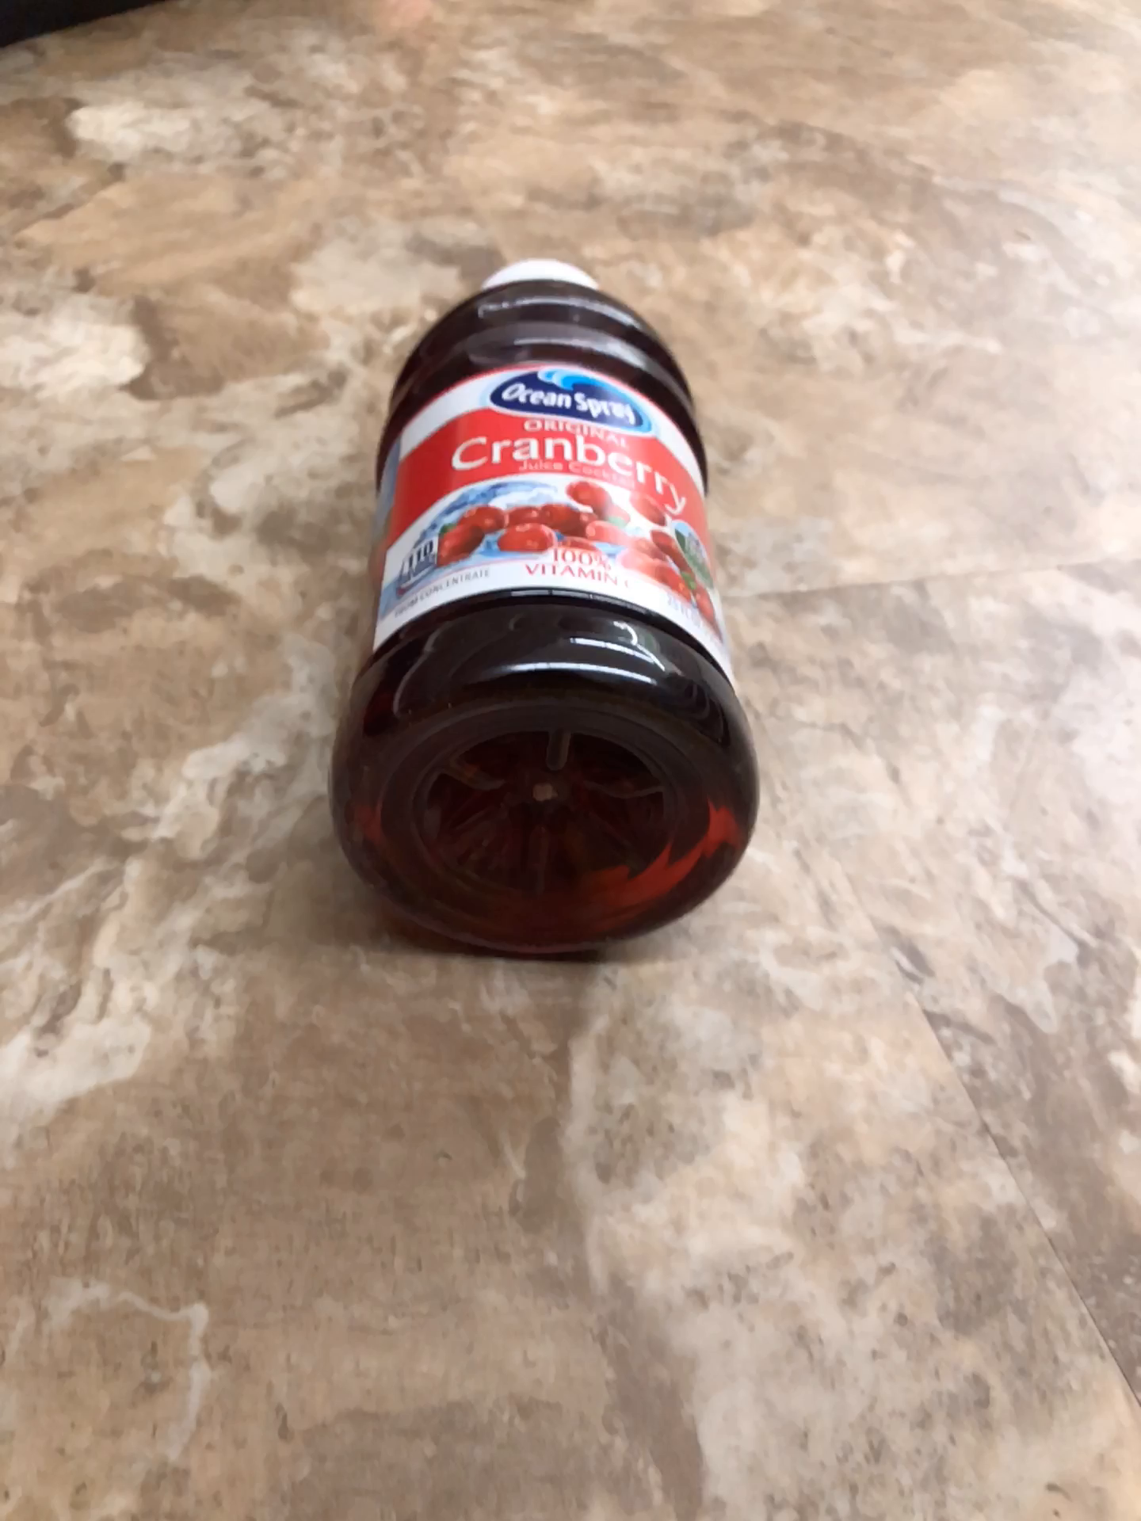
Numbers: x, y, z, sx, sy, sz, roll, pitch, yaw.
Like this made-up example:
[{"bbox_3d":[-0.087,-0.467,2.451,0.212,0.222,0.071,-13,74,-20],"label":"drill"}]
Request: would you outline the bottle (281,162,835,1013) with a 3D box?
[{"bbox_3d":[-0.008,-0.059,0.315,0.089,0.083,0.227,3,44,-5],"label":"bottle"}]
